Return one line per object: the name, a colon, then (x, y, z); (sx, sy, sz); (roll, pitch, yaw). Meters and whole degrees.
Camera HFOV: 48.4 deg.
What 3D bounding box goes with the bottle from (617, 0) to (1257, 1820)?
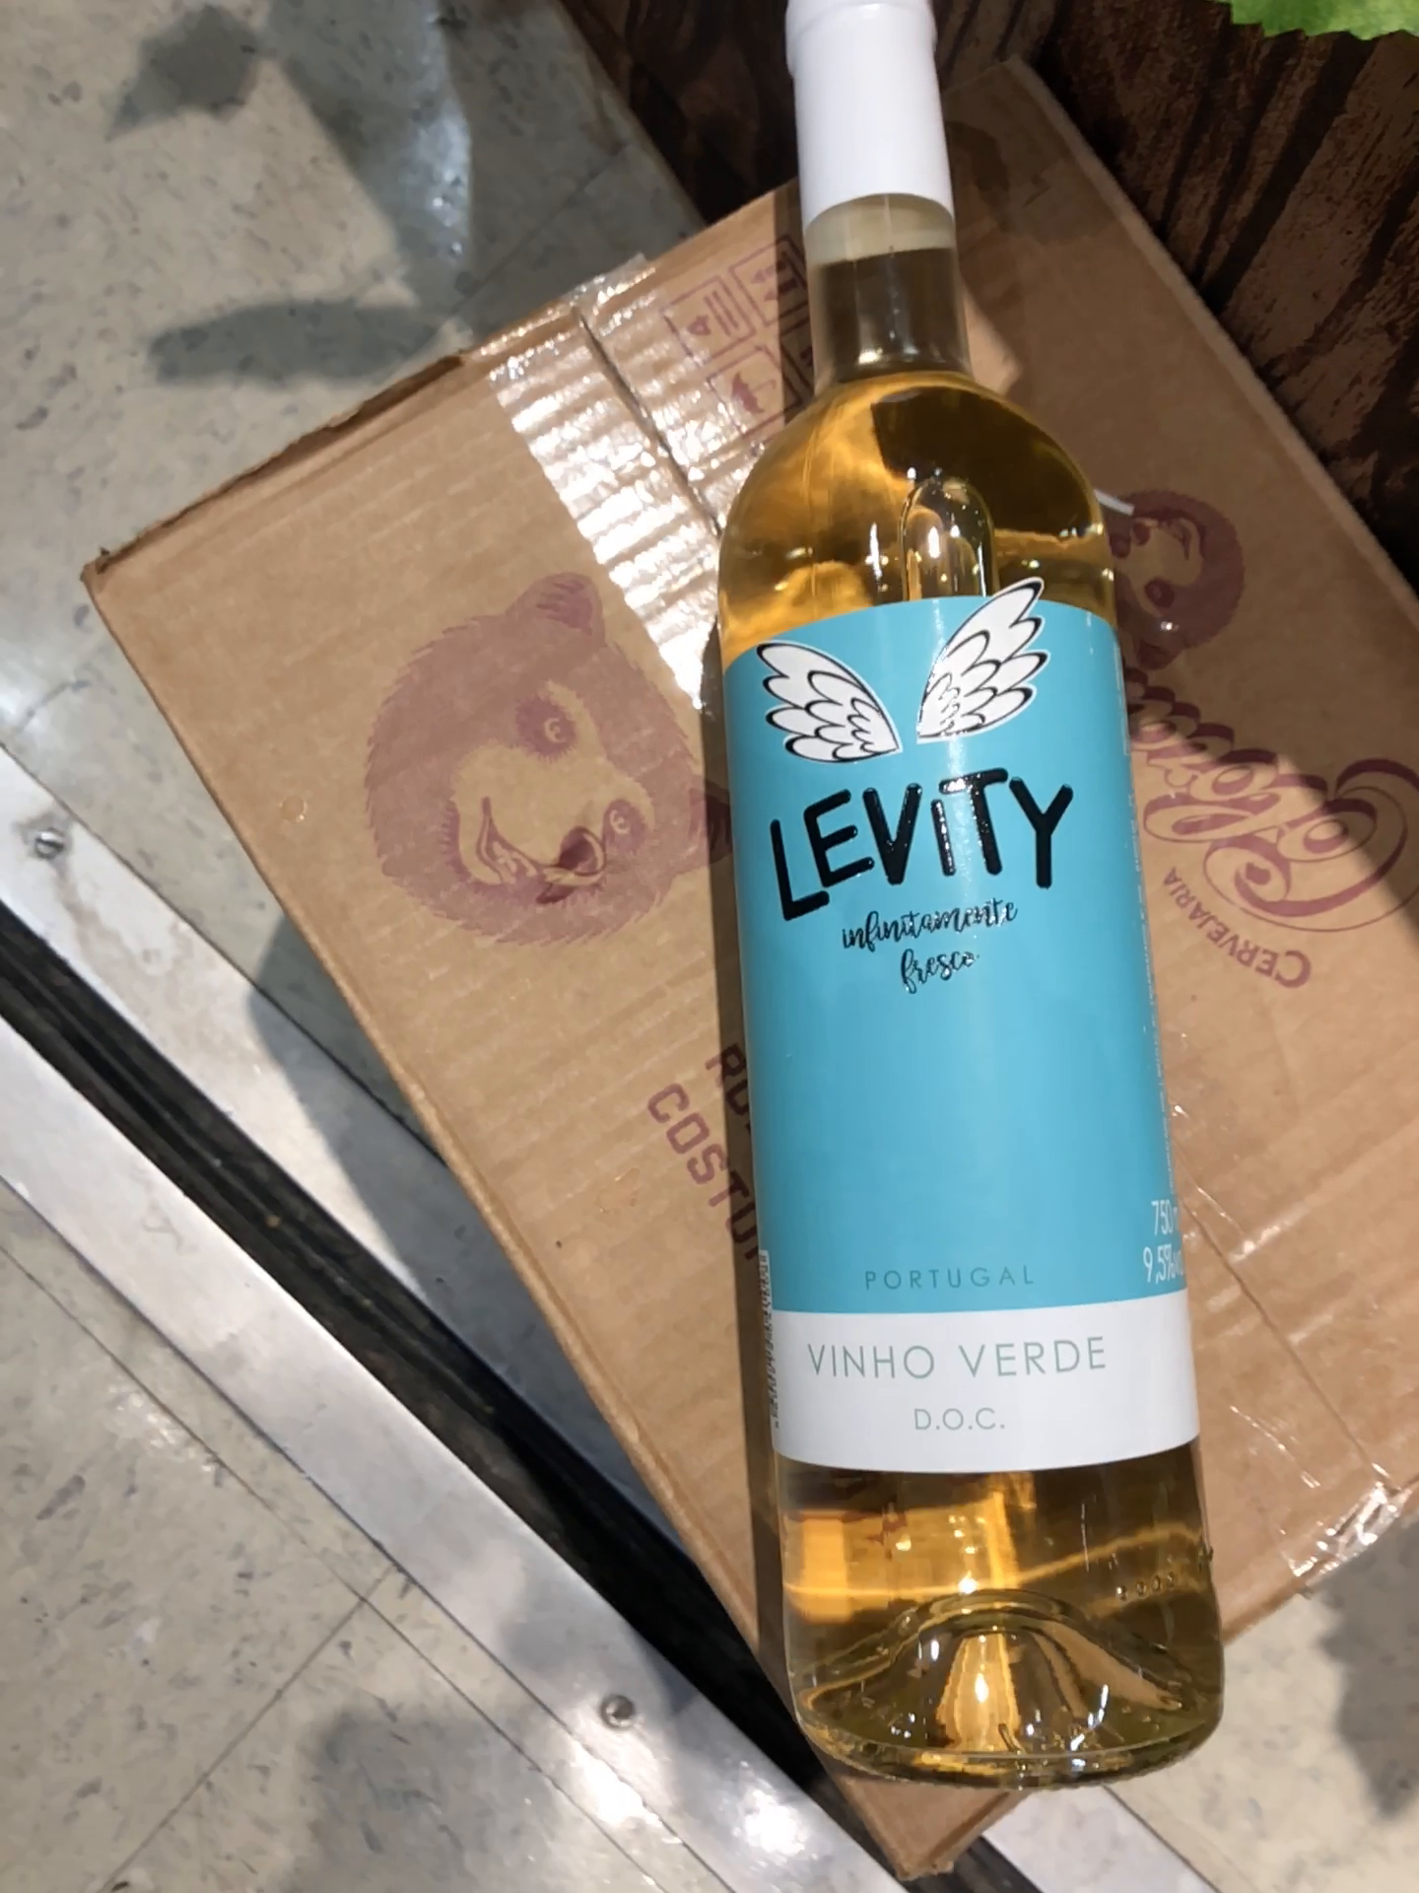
bottle: (0.032, -0.039, 0.279); (0.080, 0.050, 0.340); (-3, 83, -3)
